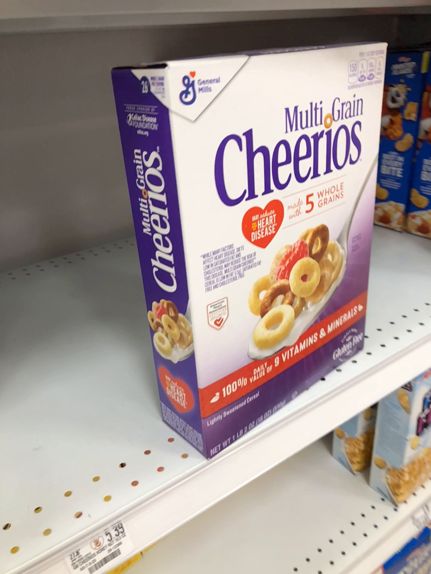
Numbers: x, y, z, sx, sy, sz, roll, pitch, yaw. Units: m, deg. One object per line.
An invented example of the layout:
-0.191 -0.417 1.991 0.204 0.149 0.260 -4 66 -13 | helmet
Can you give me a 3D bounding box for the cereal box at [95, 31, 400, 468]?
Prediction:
0.051 -0.043 0.442 0.260 0.329 0.070 -25 34 -34 | cereal box
